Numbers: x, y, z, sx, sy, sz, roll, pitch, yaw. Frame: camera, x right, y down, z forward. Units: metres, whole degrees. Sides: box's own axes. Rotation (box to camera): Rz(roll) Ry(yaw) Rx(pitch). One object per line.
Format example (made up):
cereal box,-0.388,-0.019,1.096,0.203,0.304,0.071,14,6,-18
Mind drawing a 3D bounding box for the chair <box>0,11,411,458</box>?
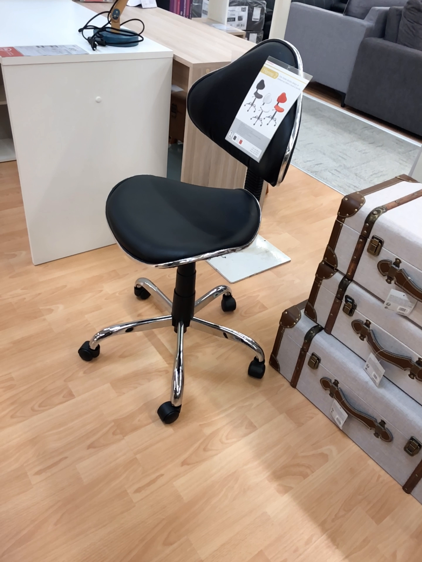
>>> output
chair,-0.056,-0.161,1.214,0.613,0.854,0.601,-24,48,-35
